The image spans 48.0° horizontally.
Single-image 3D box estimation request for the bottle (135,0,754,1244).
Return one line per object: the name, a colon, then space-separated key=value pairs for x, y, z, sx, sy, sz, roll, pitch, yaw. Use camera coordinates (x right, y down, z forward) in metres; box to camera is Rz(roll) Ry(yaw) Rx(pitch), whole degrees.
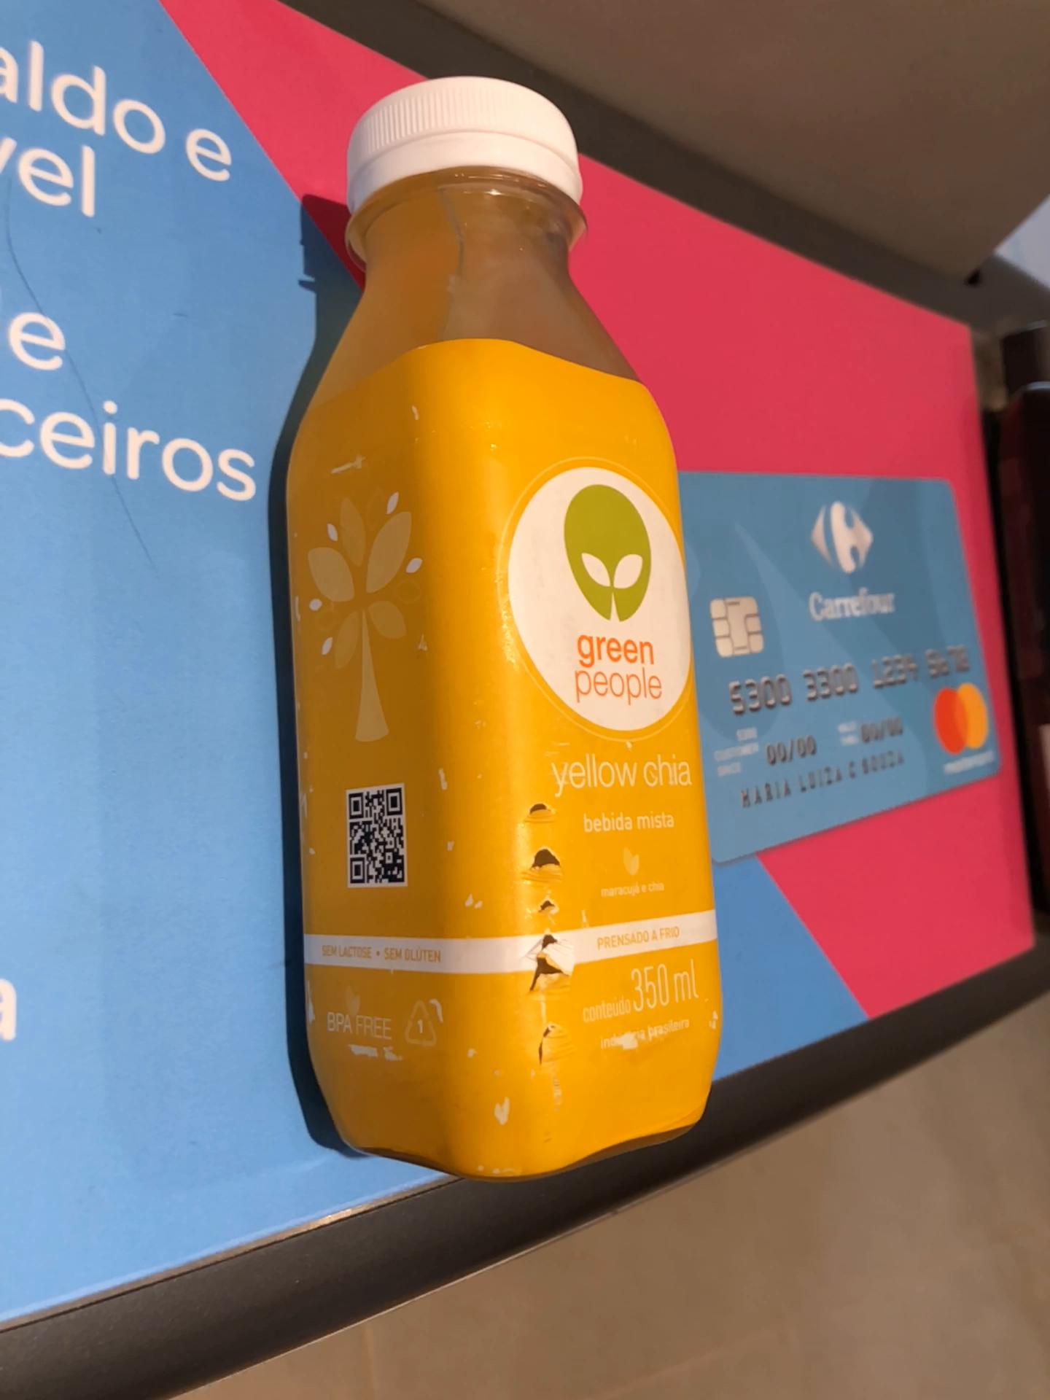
bottle: x=-0.016 y=-0.020 z=0.192 sx=0.060 sy=0.060 sz=0.180 roll=-1 pitch=82 yaw=-43
